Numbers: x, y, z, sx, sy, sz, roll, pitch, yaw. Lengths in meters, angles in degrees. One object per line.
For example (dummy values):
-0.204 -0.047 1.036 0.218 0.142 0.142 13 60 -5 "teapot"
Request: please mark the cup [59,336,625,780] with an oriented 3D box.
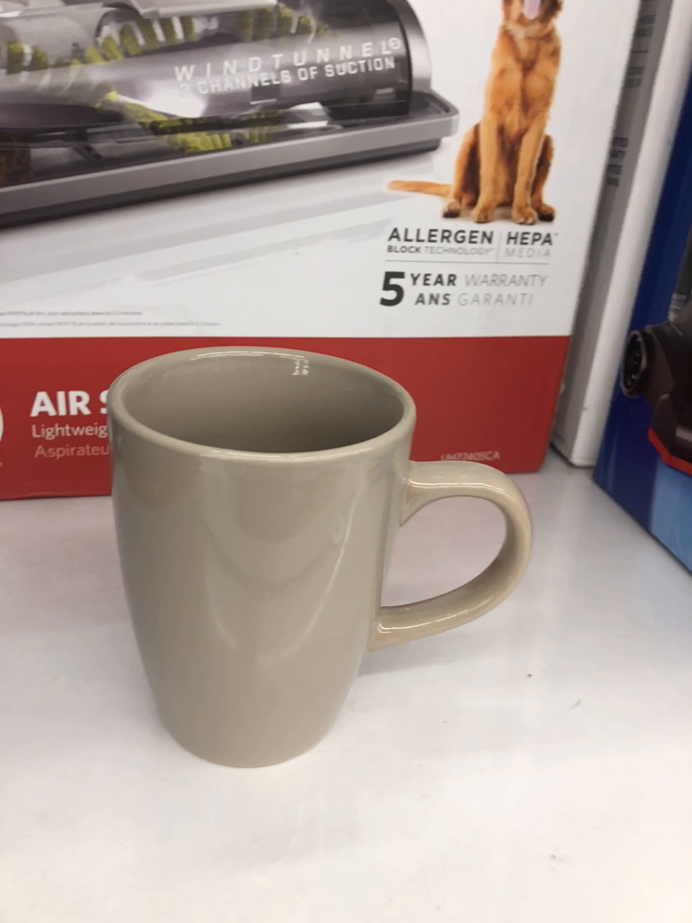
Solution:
-0.006 0.024 0.228 0.125 0.092 0.088 2 26 -7 "cup"
